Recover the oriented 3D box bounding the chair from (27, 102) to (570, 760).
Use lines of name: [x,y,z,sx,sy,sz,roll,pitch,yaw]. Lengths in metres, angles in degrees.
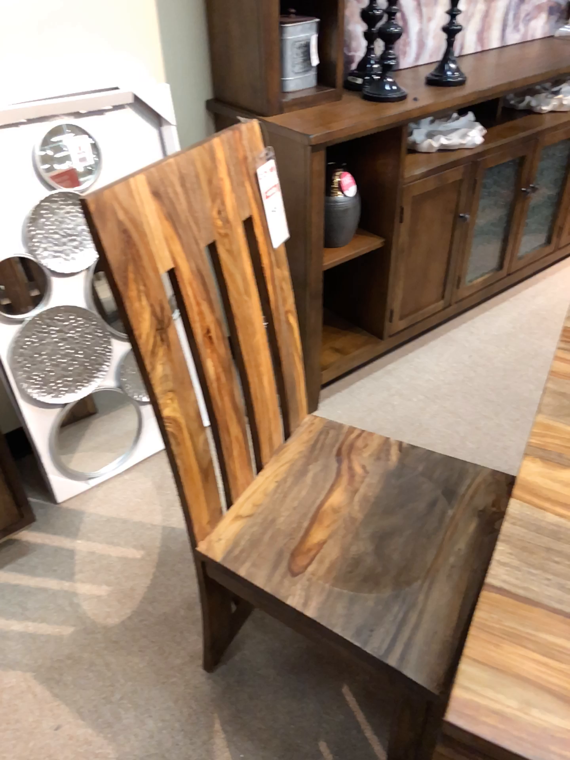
chair: [0.097,0.156,1.072,0.591,1.023,0.512,19,42,24]
